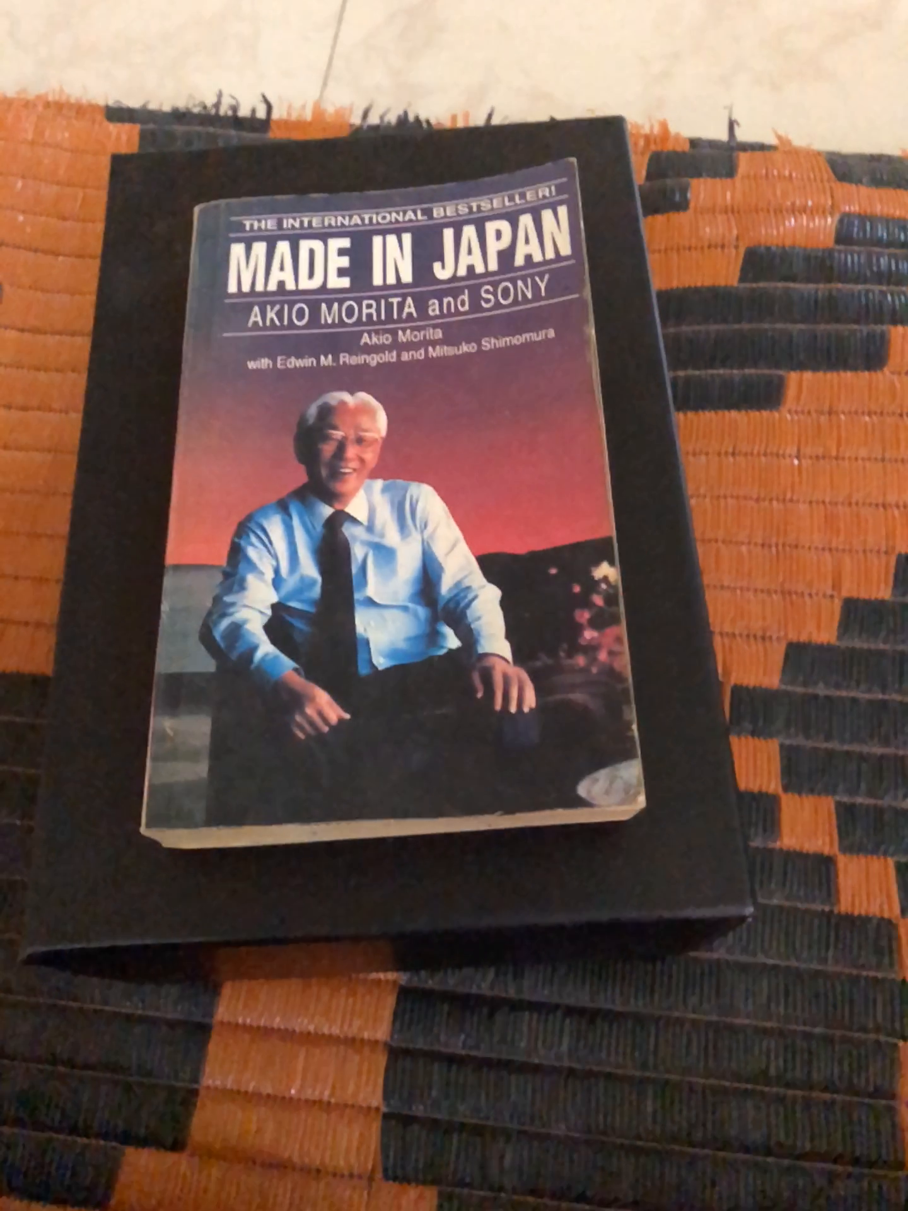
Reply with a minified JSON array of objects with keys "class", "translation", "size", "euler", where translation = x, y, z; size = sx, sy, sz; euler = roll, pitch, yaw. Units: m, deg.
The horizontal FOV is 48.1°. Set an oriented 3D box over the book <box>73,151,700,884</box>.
[{"class":"book","translation":[-0.016,-0.027,0.241],"size":[0.120,0.030,0.170],"euler":[-4,66,4]}]
